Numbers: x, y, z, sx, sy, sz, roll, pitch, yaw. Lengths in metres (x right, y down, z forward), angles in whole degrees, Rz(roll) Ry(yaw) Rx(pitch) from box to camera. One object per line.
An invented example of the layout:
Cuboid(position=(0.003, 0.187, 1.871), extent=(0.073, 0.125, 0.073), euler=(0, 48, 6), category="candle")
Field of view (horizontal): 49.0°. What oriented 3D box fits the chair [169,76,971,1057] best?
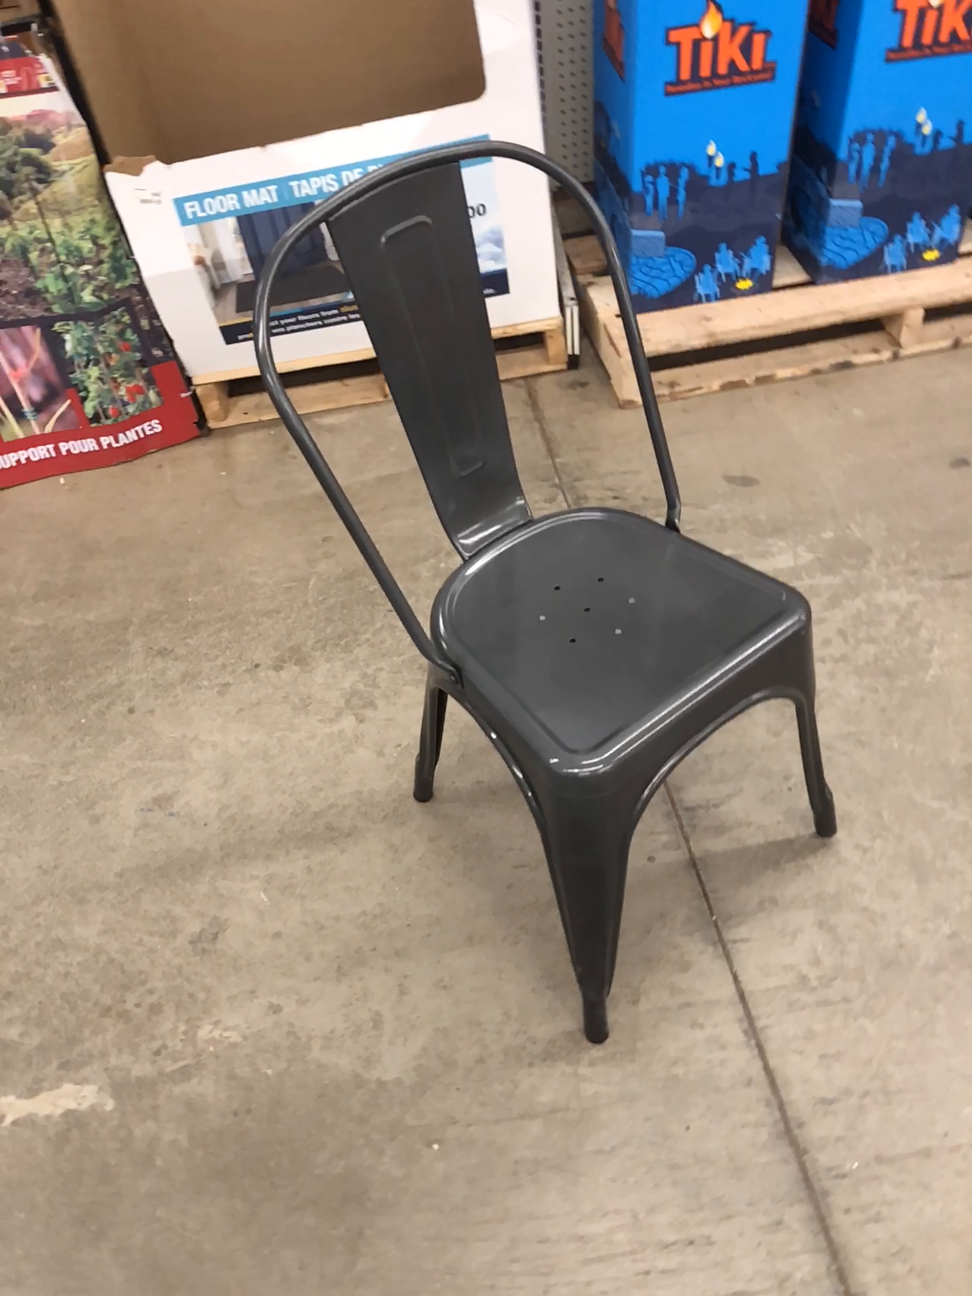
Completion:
Cuboid(position=(0.108, -0.066, 1.169), extent=(0.480, 0.817, 0.501), euler=(-34, 51, -23), category="chair")
